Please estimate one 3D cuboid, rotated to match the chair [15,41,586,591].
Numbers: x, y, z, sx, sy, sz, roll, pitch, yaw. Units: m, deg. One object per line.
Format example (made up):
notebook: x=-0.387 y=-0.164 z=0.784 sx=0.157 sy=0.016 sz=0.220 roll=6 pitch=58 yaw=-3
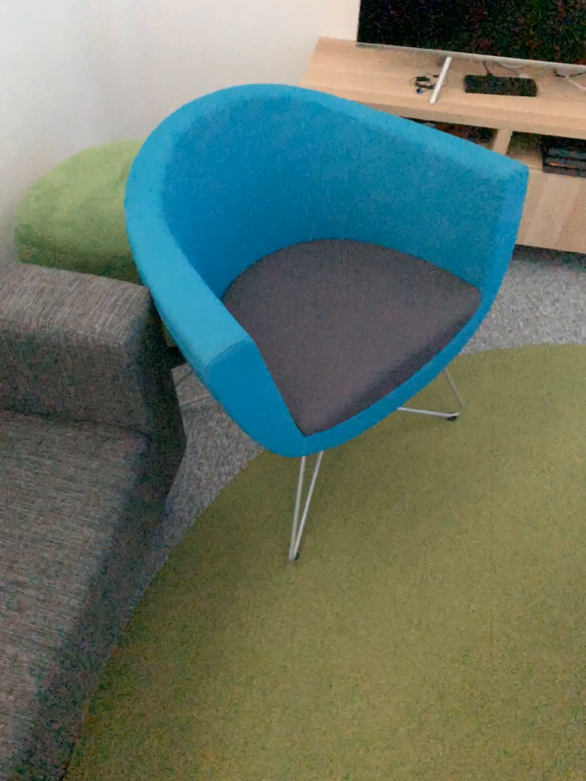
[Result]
chair: x=0.027 y=-0.178 z=1.283 sx=0.762 sy=0.687 sz=0.621 roll=-36 pitch=60 yaw=-26
